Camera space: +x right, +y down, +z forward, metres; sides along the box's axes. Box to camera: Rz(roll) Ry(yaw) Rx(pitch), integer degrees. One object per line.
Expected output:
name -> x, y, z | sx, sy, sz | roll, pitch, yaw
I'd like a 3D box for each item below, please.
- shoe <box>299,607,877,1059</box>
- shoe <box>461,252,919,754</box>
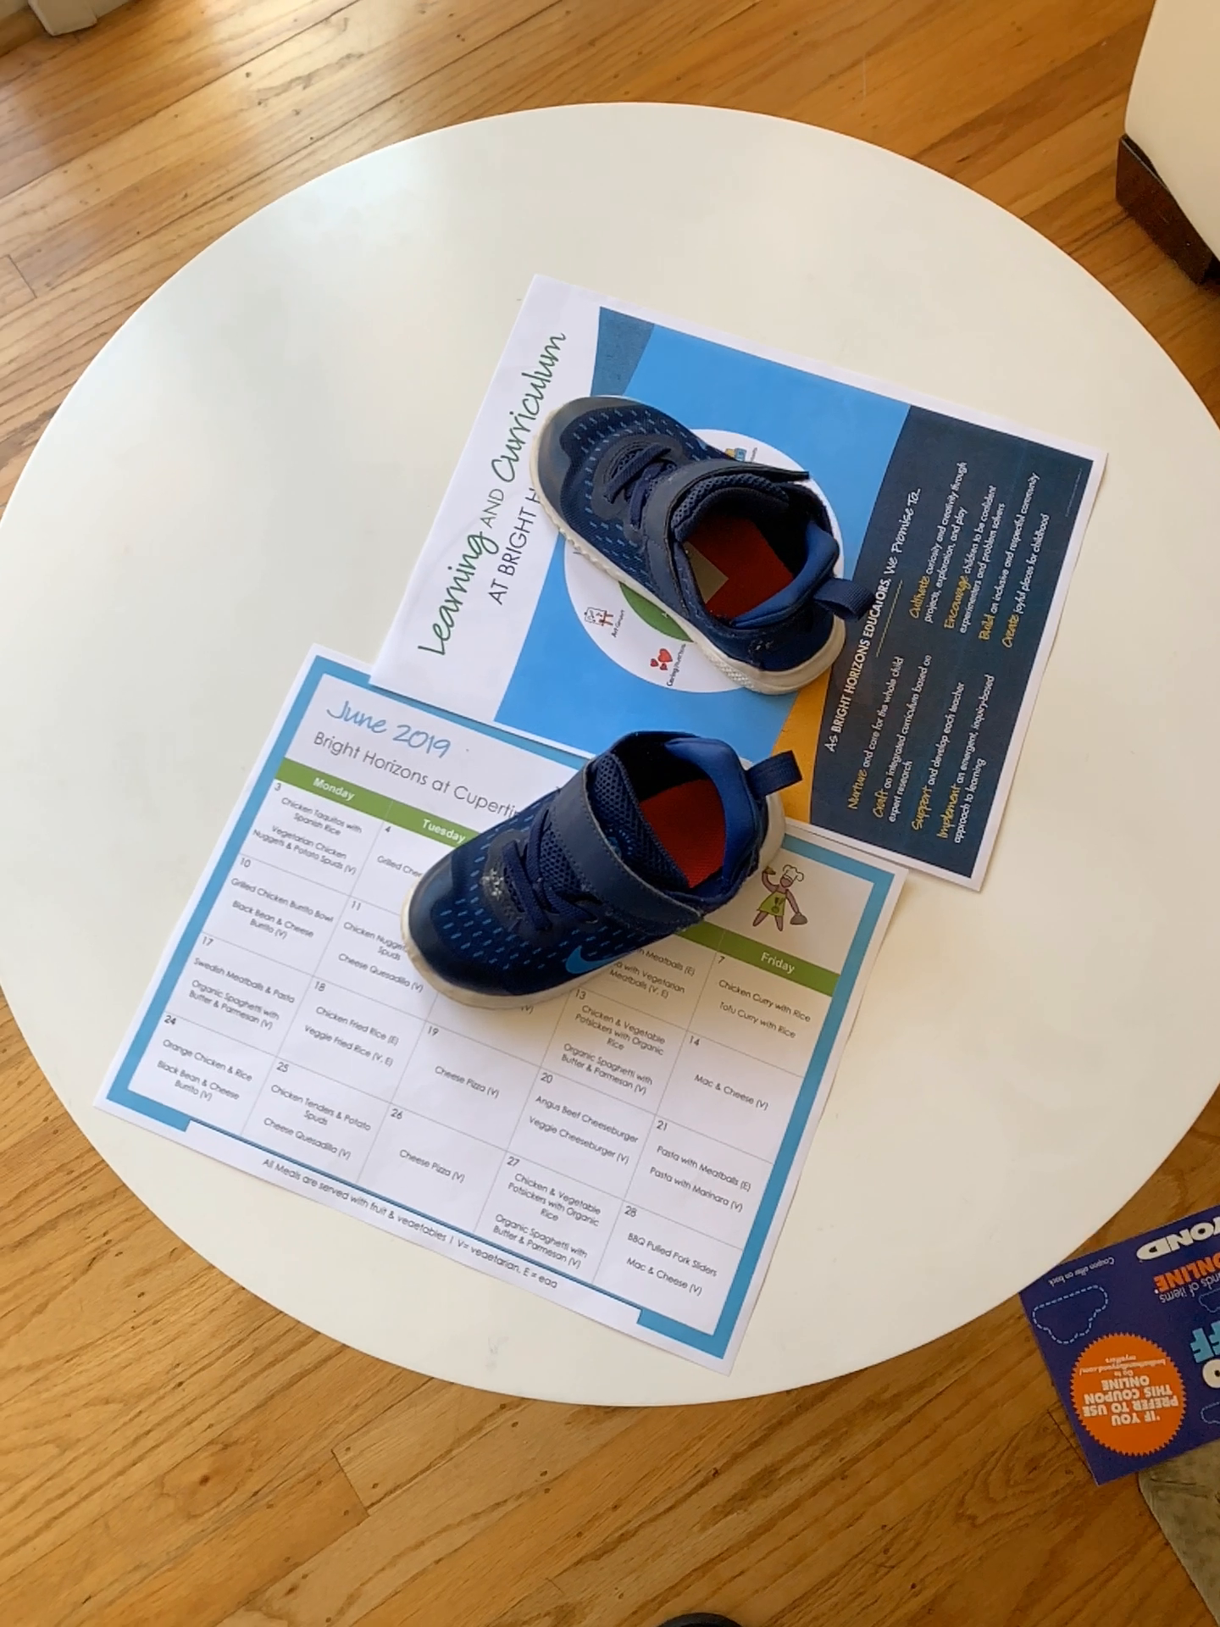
shoe -> -0.006, 0.014, 0.459 | 0.170, 0.110, 0.080 | -26, 78, -4
shoe -> 0.030, -0.126, 0.533 | 0.080, 0.110, 0.170 | -43, 80, -8
